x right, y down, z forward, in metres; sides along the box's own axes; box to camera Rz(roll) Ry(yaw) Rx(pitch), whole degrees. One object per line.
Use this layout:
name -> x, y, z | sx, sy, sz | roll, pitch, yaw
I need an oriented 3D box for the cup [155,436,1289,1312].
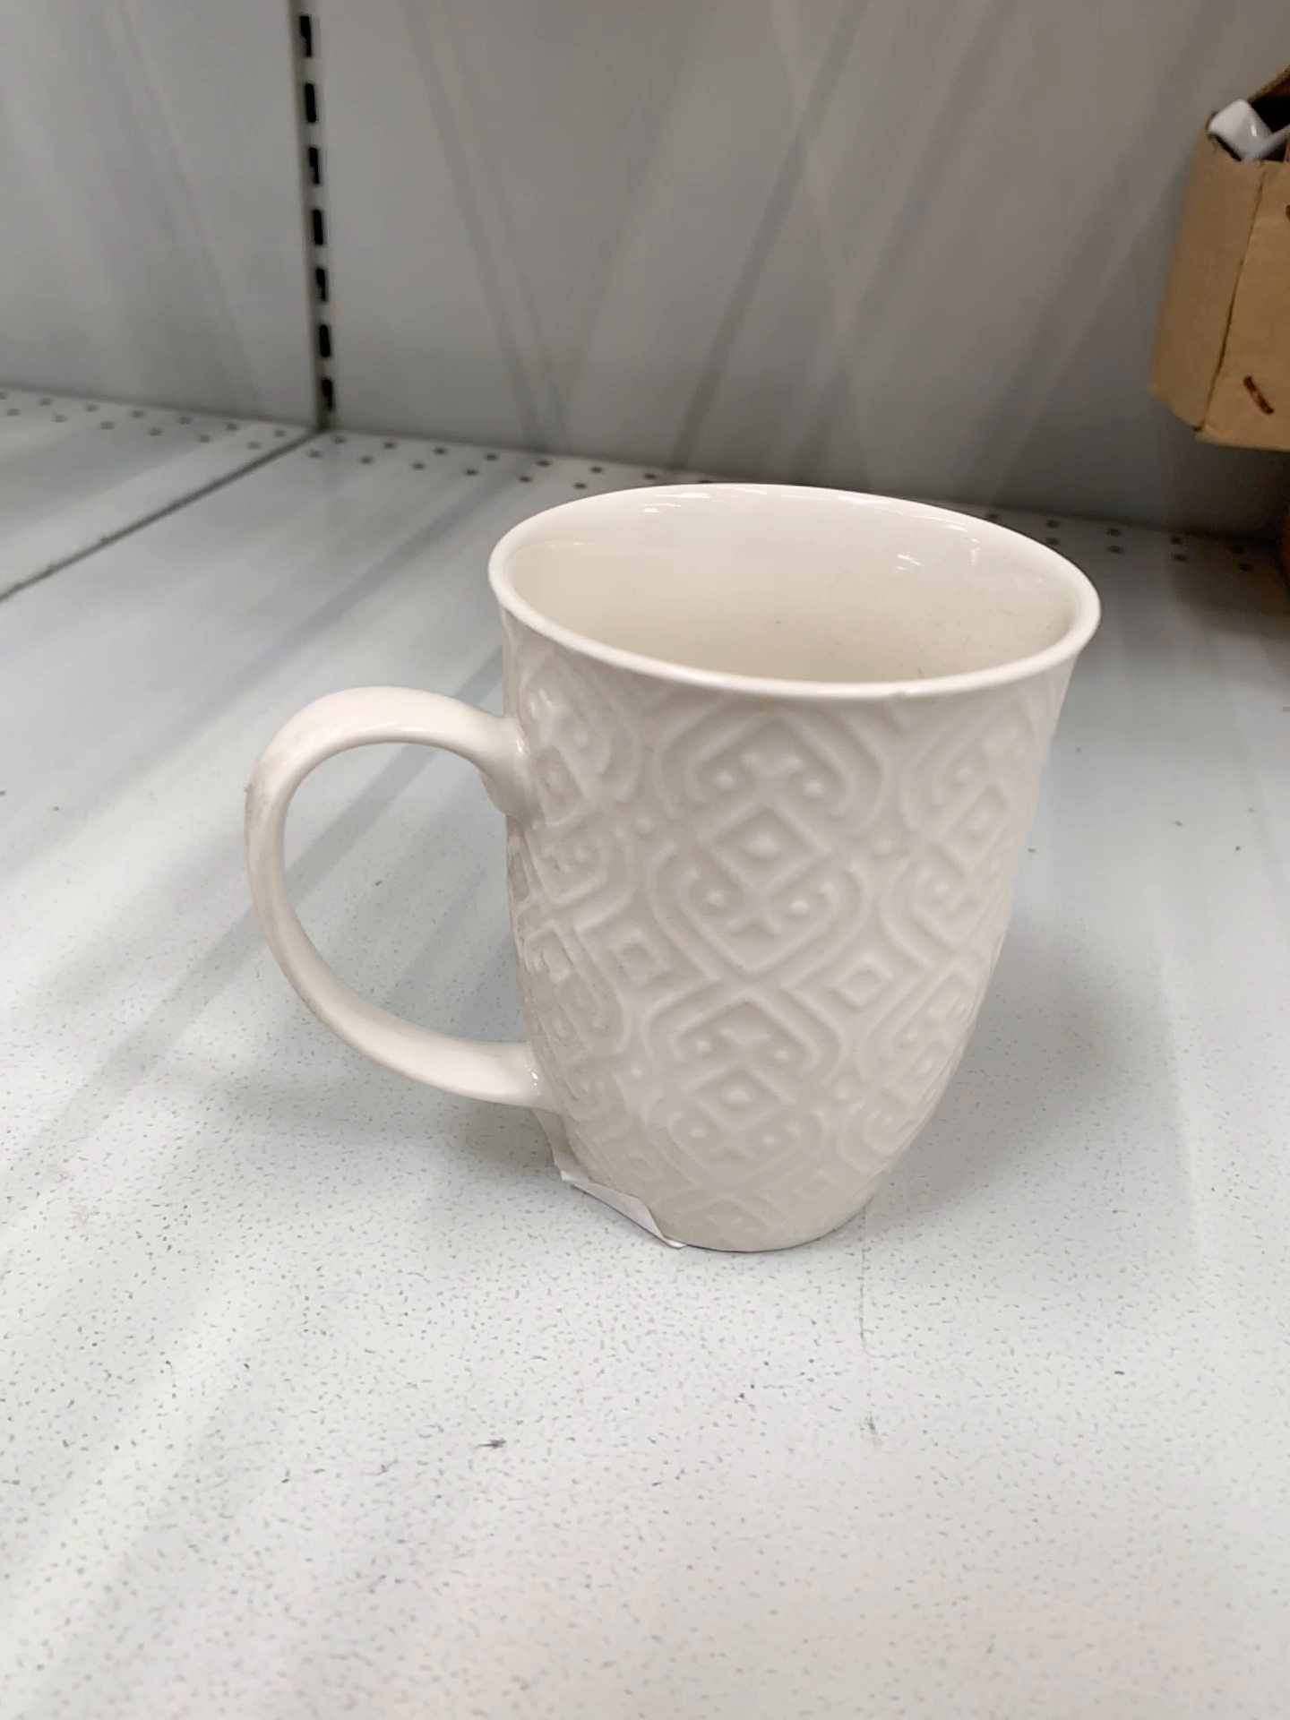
cup -> 0.010, -0.002, 0.213 | 0.131, 0.098, 0.092 | 3, 31, -1
